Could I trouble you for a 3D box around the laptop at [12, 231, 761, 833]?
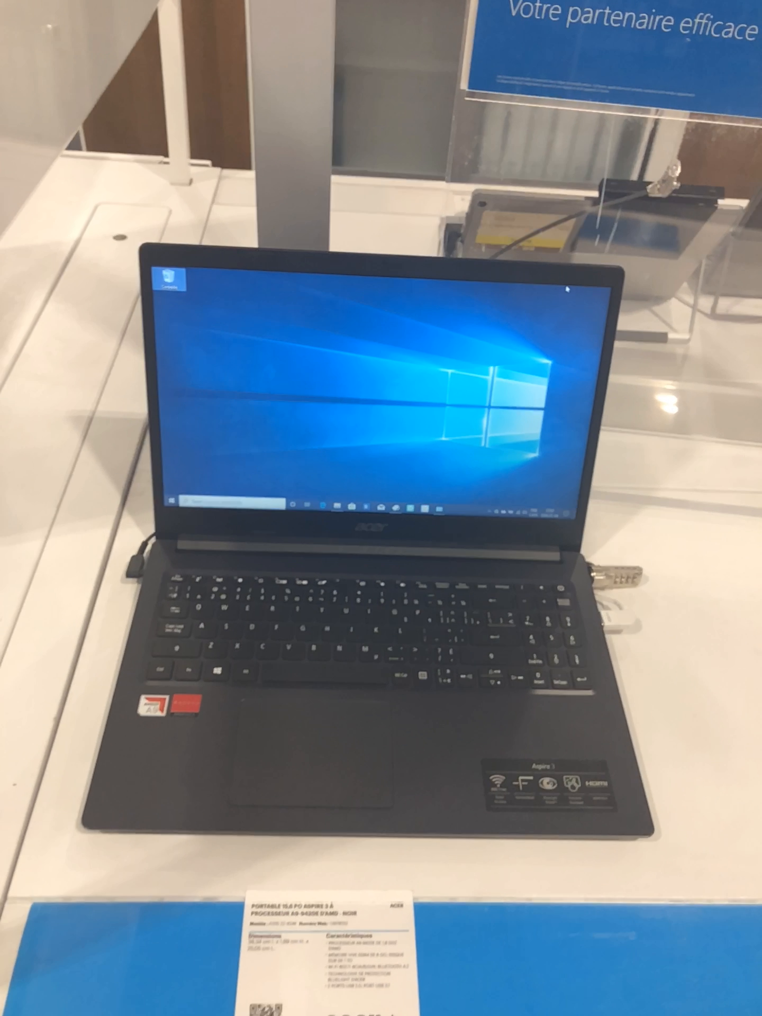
[{"bbox_3d":[-0.002,0.002,0.602,0.367,0.212,0.351,2,45,-3],"label":"laptop"}]
